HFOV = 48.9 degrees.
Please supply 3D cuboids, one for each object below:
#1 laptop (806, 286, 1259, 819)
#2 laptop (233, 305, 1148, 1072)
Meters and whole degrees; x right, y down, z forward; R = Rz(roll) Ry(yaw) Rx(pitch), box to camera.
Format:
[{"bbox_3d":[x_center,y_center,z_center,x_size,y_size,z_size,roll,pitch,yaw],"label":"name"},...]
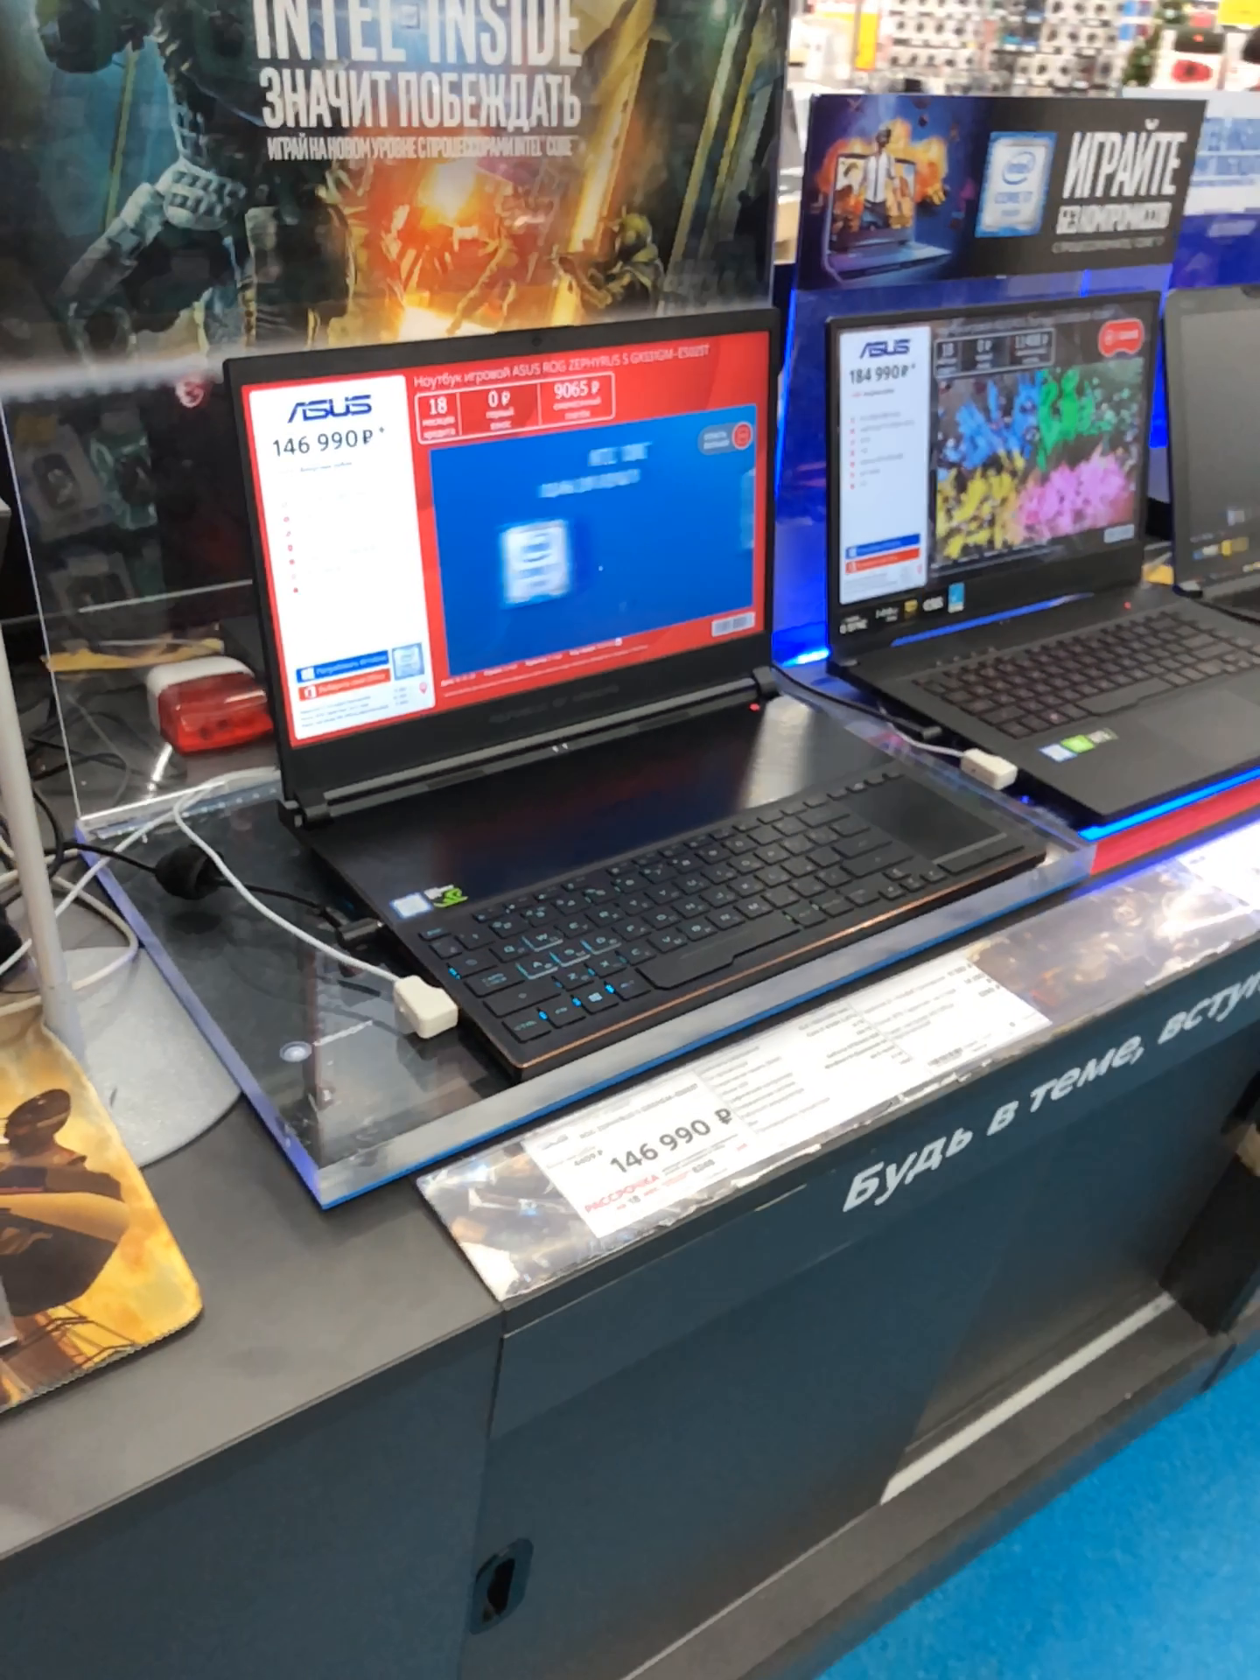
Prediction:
[{"bbox_3d":[0.357,-0.228,0.974,0.342,0.219,0.302,-17,37,-28],"label":"laptop"},{"bbox_3d":[0.022,-0.115,0.733,0.350,0.241,0.279,-18,37,-31],"label":"laptop"}]
